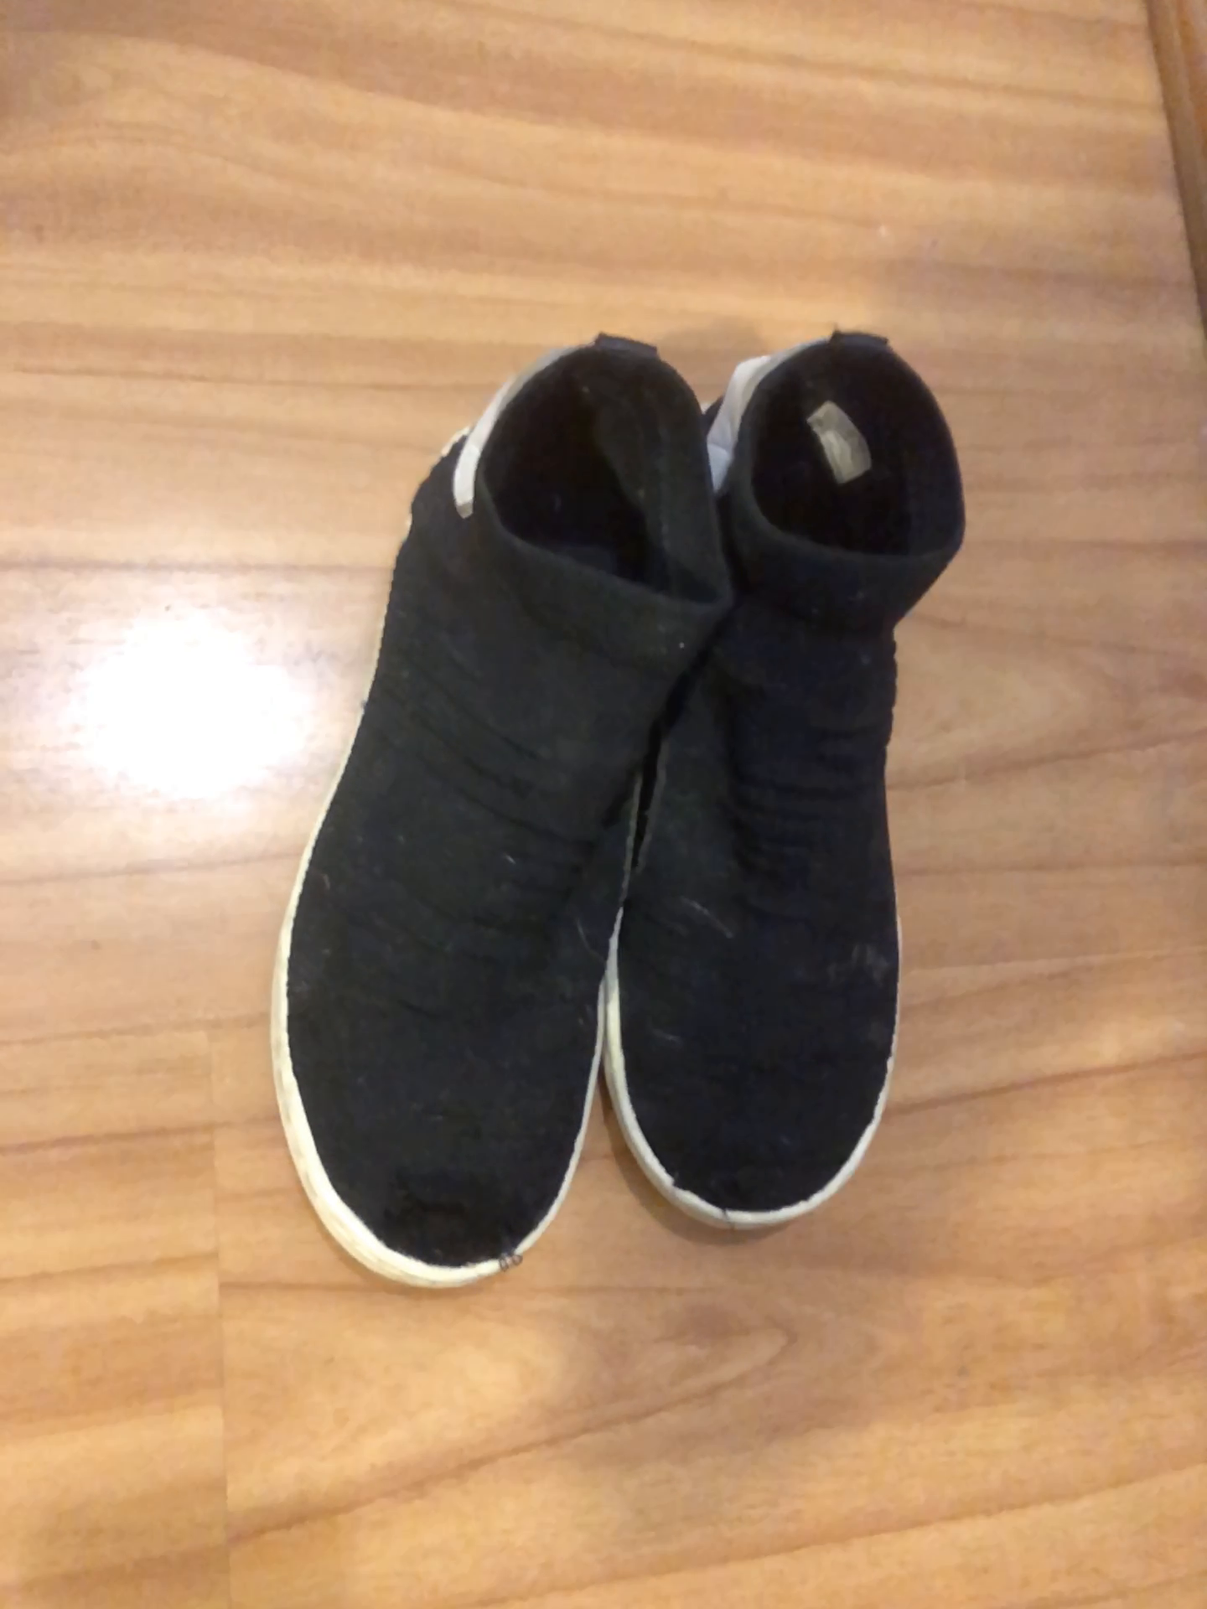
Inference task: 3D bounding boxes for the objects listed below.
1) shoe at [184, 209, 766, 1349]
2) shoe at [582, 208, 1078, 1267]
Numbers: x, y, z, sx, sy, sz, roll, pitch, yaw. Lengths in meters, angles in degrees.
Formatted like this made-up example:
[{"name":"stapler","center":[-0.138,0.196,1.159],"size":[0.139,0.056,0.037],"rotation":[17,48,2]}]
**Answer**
[{"name":"shoe","center":[-0.035,-0.004,0.365],"size":[0.100,0.100,0.260],"rotation":[11,78,-13]},{"name":"shoe","center":[0.055,-0.015,0.383],"size":[0.100,0.100,0.260],"rotation":[2,80,-15]}]
